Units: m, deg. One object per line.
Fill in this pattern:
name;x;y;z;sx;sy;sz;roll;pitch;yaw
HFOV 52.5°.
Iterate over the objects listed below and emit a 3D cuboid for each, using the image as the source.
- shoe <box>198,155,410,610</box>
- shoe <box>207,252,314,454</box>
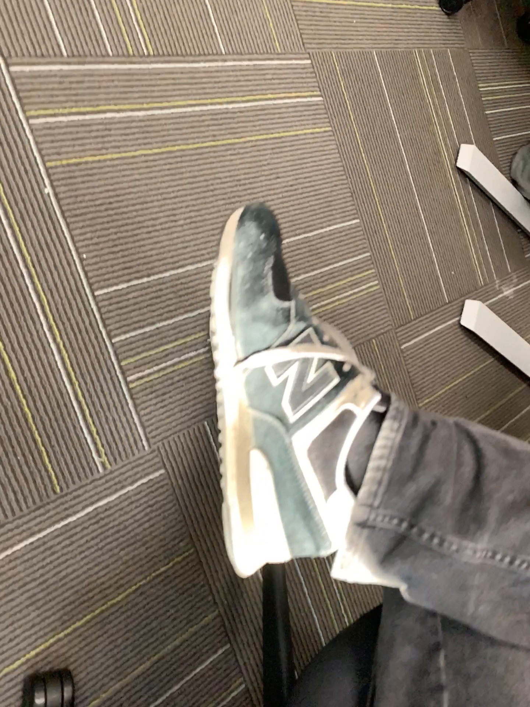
shoe;0.024;0.019;0.420;0.133;0.115;0.304;-2;84;1
shoe;-0.011;0.005;0.895;0.115;0.133;0.304;2;83;-35
